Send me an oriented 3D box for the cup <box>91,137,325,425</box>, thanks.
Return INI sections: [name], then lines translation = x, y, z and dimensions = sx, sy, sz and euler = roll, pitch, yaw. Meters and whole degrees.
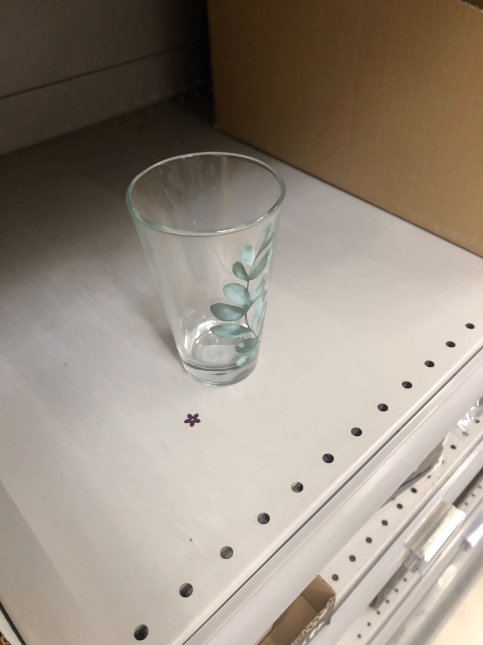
[cup]
translation = -0.015, -0.025, 0.304
dimensions = 0.083, 0.114, 0.083
euler = -2, 42, 2
